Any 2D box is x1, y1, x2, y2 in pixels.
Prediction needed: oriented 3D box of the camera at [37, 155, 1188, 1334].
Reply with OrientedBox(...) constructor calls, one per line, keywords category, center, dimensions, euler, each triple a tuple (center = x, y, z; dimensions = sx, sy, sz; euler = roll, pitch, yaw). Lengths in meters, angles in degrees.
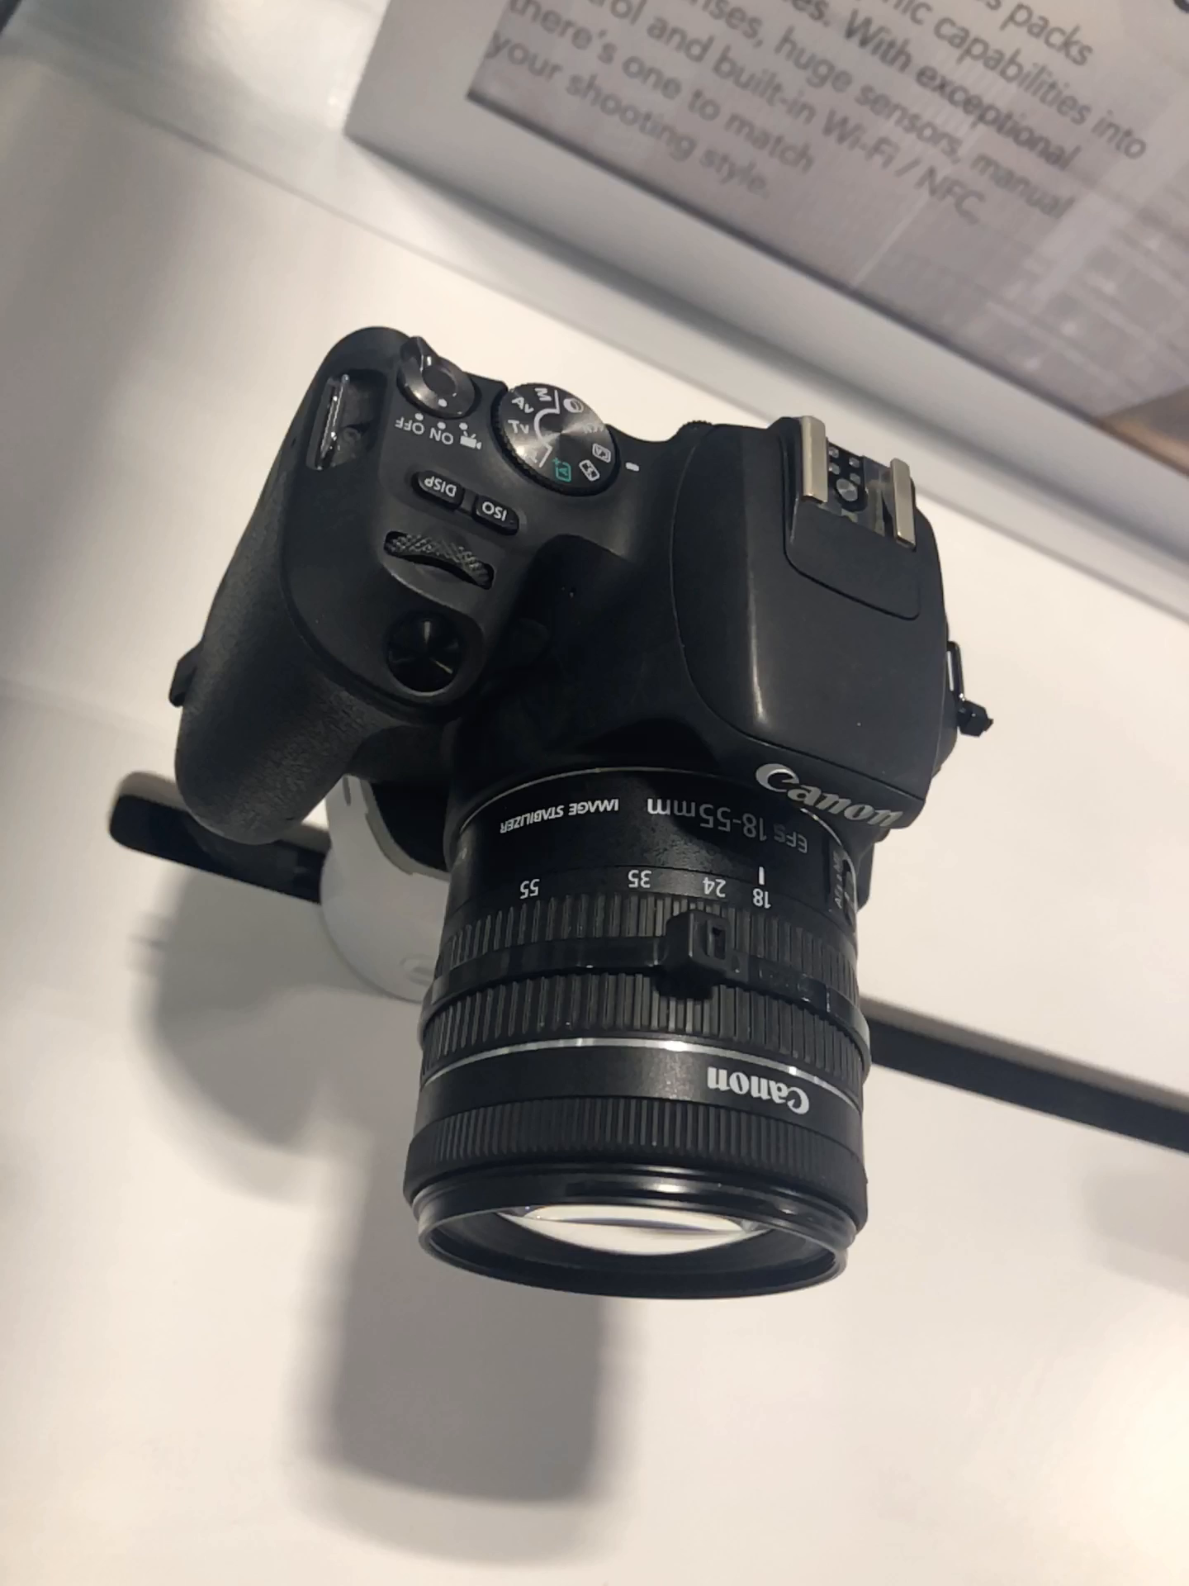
OrientedBox(category="camera", center=(0.003, 0.007, 0.197), dimensions=(0.122, 0.100, 0.110), euler=(18, 56, -20))
